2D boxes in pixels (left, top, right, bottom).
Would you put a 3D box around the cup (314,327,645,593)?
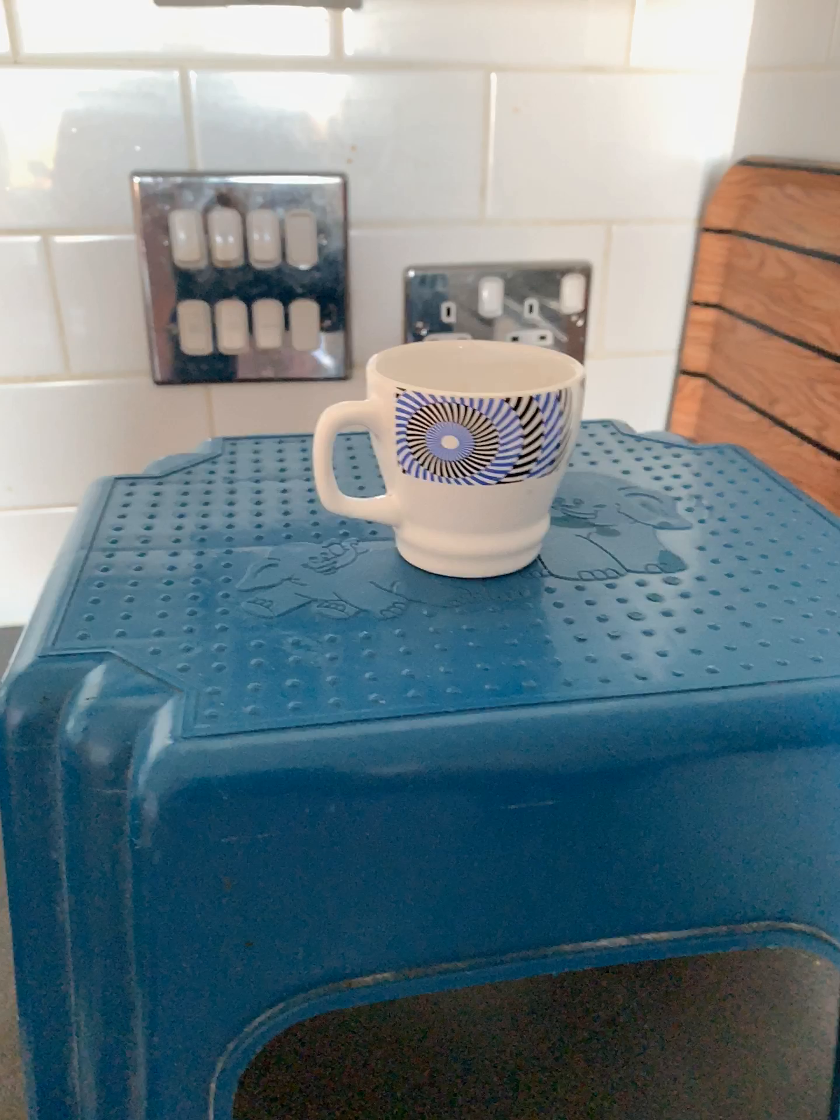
[{"bbox_3d":[0.011,-0.035,0.271,0.085,0.055,0.079,1,27,0],"label":"cup"}]
